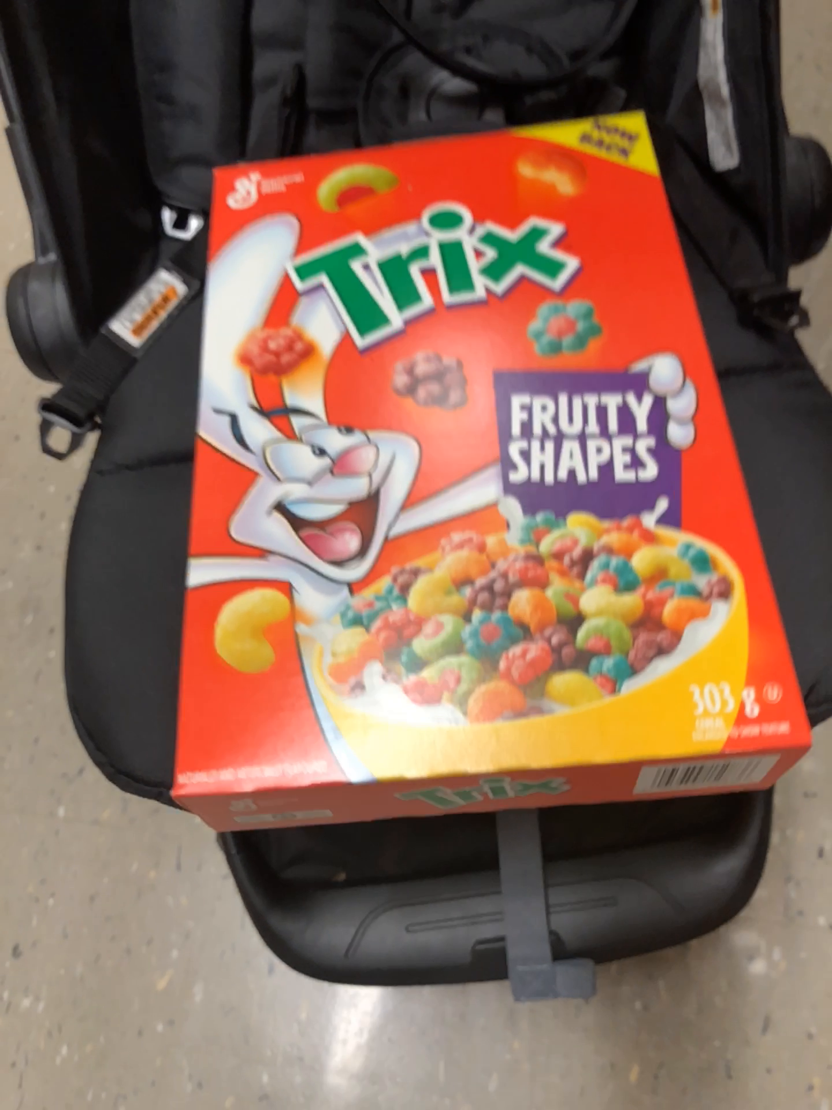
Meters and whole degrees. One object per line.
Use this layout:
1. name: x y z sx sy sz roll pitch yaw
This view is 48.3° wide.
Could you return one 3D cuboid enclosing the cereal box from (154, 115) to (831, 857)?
1. cereal box: 0.015 -0.040 0.363 0.200 0.060 0.280 -6 63 3
